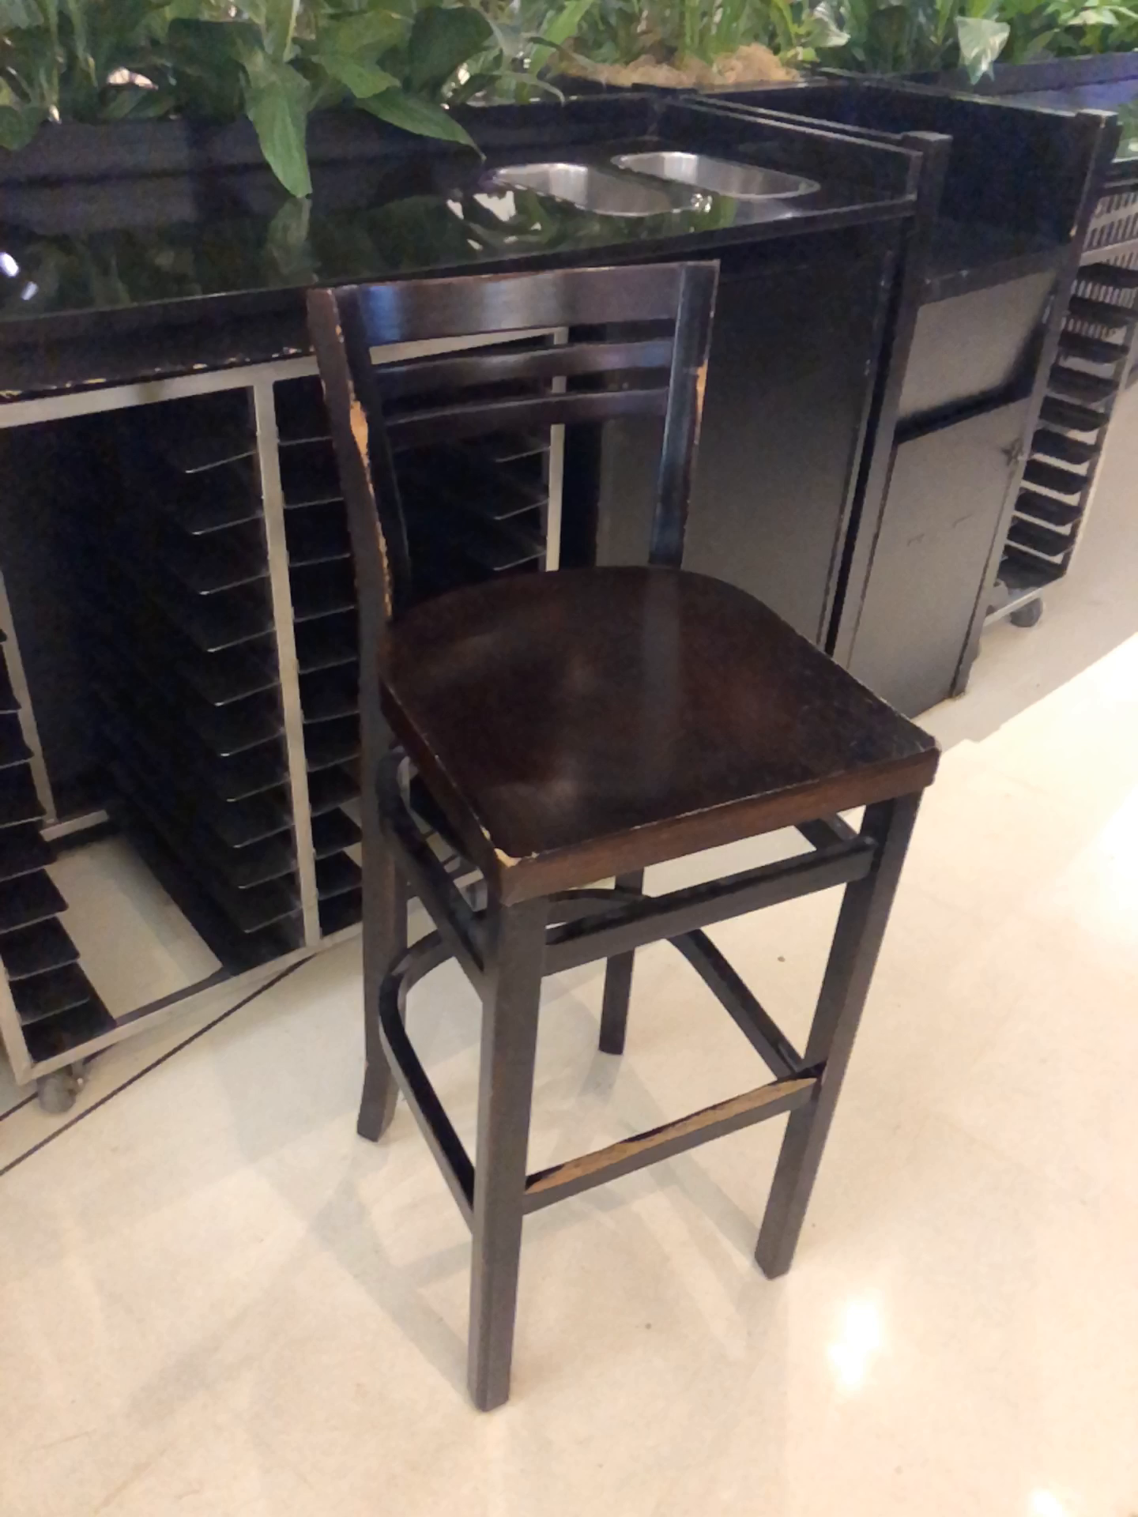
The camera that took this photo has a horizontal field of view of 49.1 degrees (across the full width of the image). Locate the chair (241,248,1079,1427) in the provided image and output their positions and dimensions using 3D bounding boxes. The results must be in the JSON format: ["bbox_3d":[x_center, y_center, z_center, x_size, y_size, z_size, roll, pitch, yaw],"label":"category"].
[{"bbox_3d":[0.021,0.073,1.154,0.441,0.913,0.453,-14,37,-23],"label":"chair"}]
